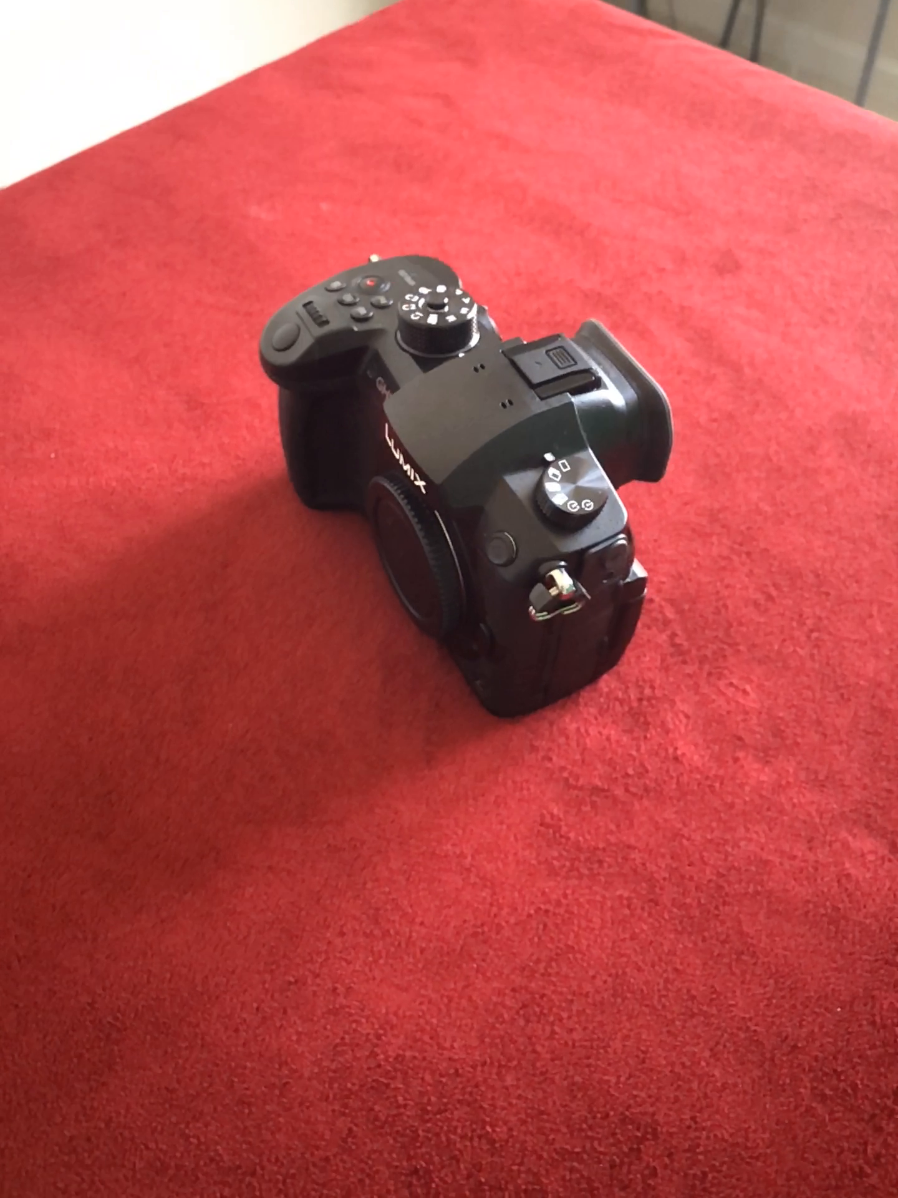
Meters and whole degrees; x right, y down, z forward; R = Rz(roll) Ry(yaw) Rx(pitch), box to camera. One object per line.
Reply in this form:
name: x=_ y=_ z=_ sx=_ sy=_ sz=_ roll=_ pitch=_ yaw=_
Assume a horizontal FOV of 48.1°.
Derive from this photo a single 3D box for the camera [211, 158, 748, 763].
camera: x=0.000 y=-0.047 z=0.307 sx=0.085 sy=0.087 sz=0.148 roll=-22 pitch=57 yaw=-17
